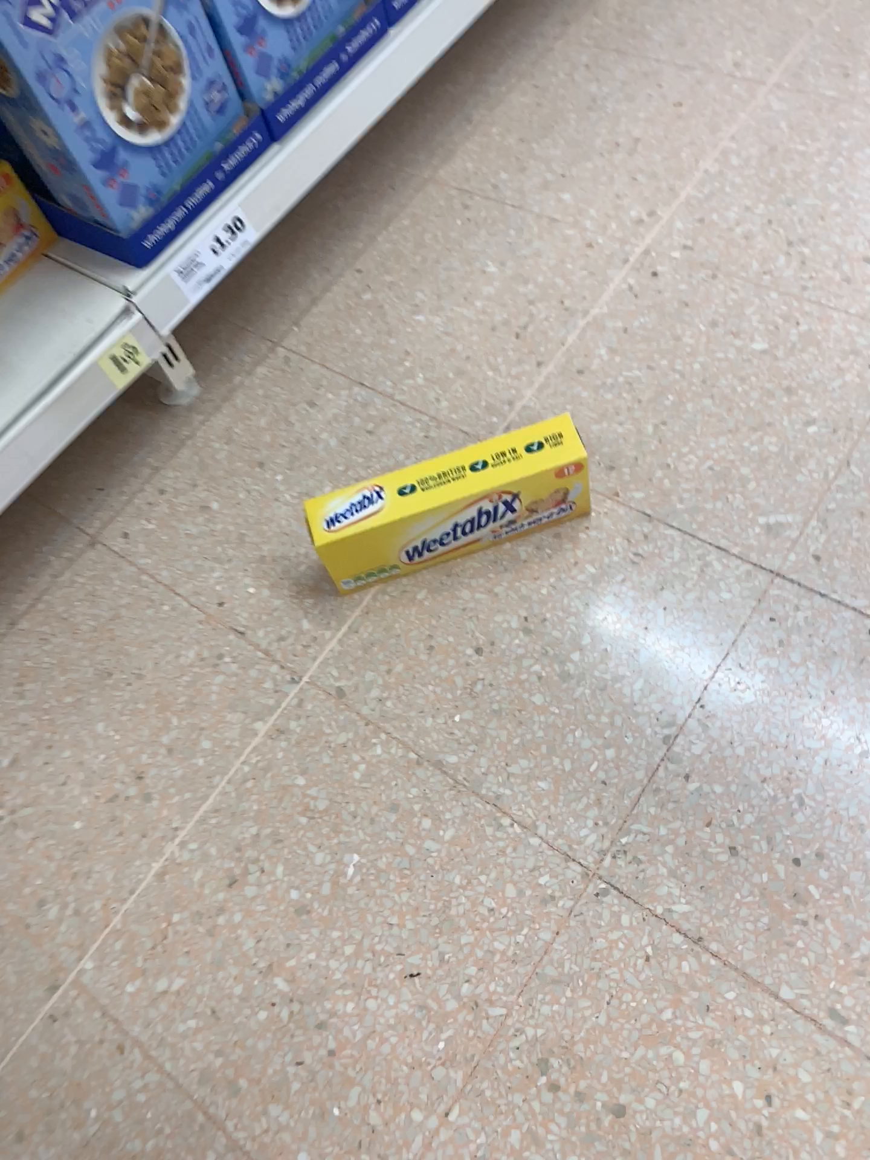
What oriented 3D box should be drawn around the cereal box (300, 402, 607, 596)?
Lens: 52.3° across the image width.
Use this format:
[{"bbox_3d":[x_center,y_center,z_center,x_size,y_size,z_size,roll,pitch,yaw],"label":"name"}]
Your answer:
[{"bbox_3d":[0.021,-0.069,0.801,0.260,0.099,0.050,-18,59,2],"label":"cereal box"}]
